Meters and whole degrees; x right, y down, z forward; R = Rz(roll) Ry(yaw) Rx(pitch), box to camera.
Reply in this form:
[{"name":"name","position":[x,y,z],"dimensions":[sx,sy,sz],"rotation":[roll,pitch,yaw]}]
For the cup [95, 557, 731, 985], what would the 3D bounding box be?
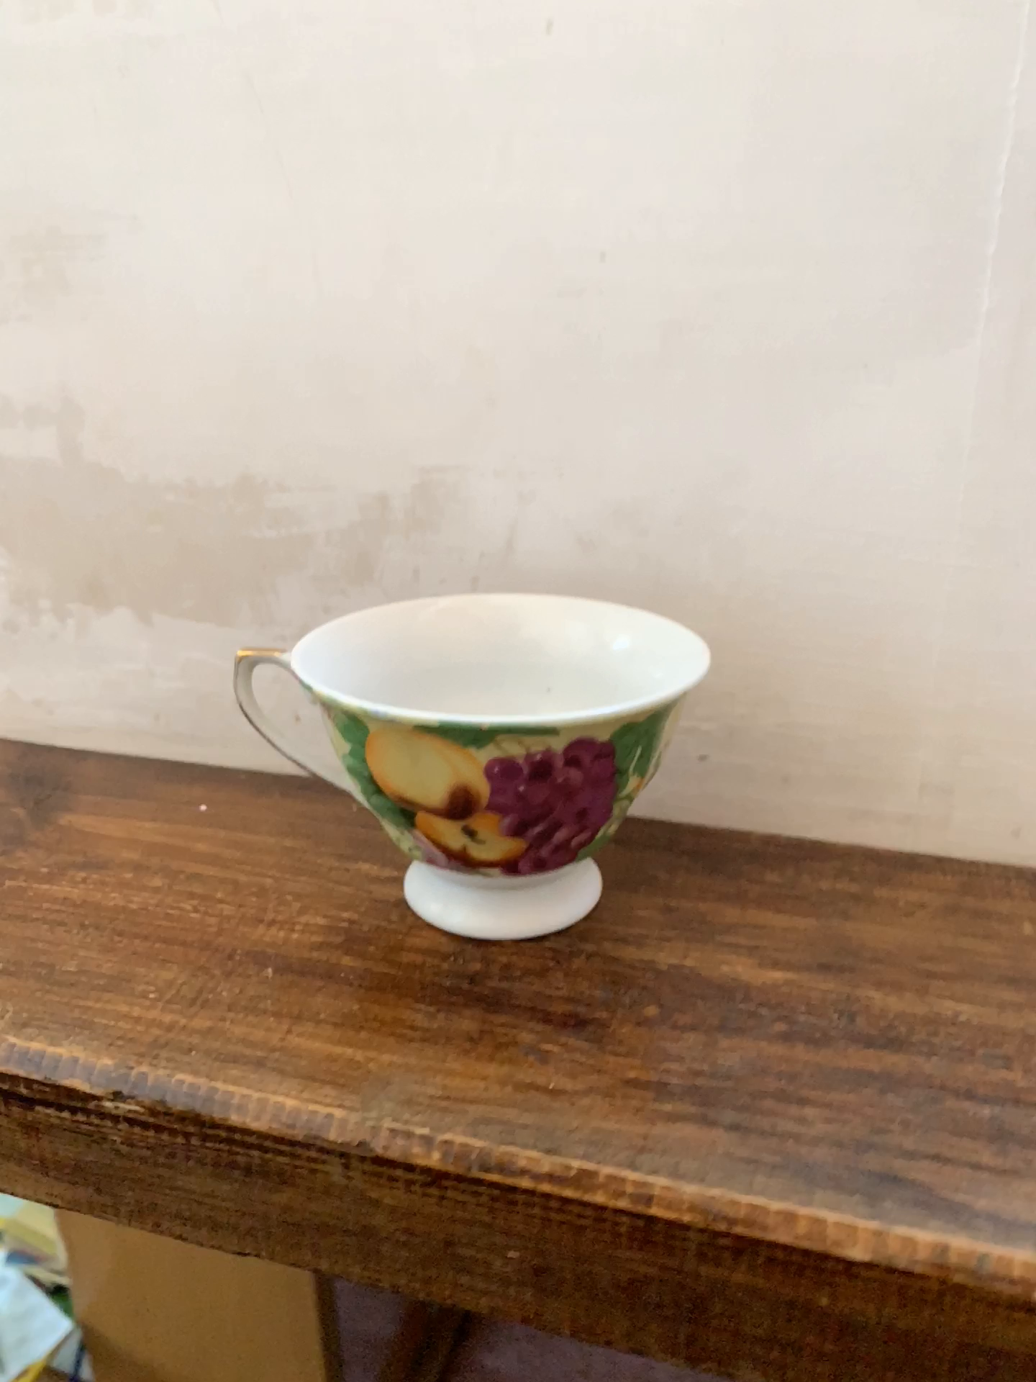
[{"name":"cup","position":[-0.016,0.010,0.259],"dimensions":[0.123,0.058,0.092],"rotation":[5,20,13]}]
